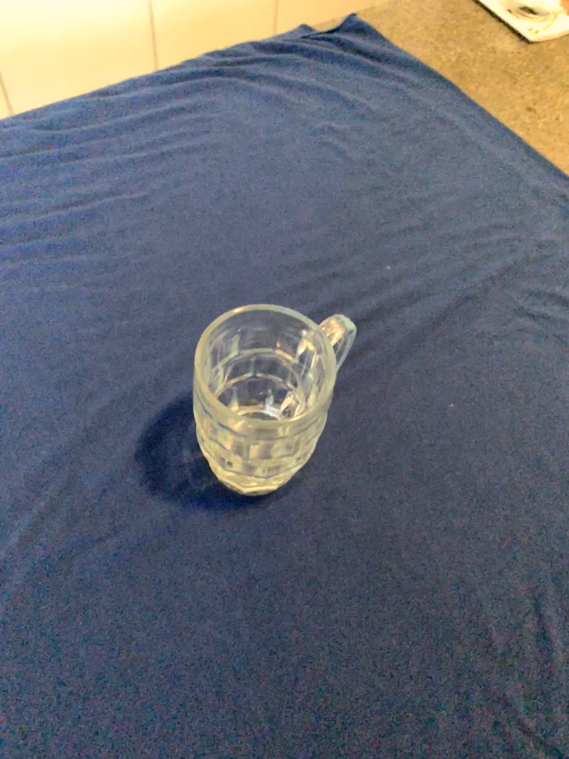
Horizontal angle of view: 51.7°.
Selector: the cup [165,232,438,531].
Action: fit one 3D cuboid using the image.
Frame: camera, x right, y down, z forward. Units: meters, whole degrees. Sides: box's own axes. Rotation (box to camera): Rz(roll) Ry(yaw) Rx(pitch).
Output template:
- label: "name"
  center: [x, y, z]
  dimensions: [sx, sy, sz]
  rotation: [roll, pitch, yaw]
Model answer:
- label: "cup"
  center: [0.006, 0.003, 0.346]
  dimensions: [0.080, 0.110, 0.120]
  rotation: [42, 62, 19]
